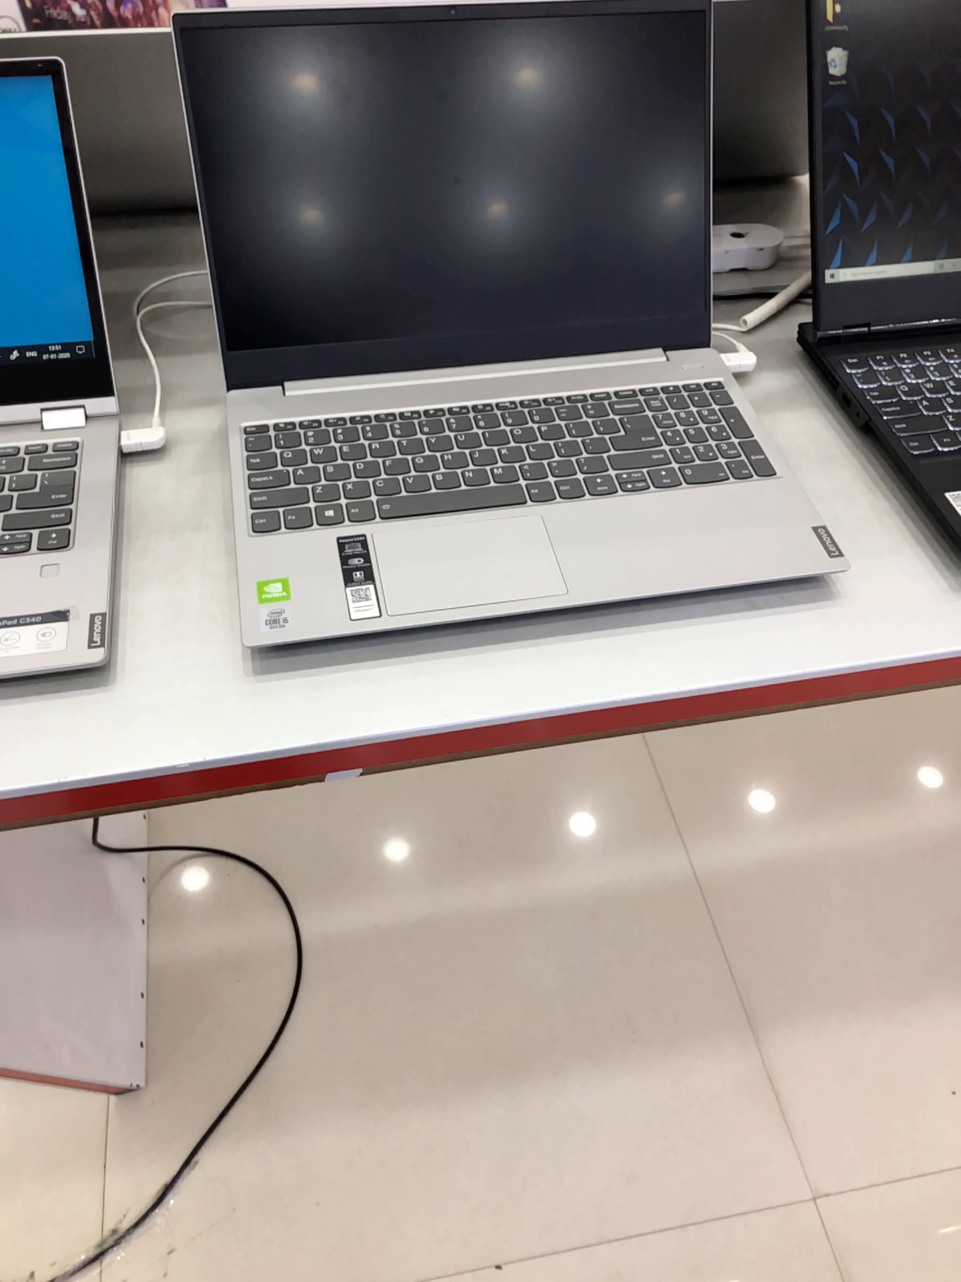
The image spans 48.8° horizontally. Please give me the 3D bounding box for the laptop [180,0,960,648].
[{"bbox_3d":[0.014,-0.213,0.629,0.342,0.196,0.346,-8,48,-9],"label":"laptop"}]
